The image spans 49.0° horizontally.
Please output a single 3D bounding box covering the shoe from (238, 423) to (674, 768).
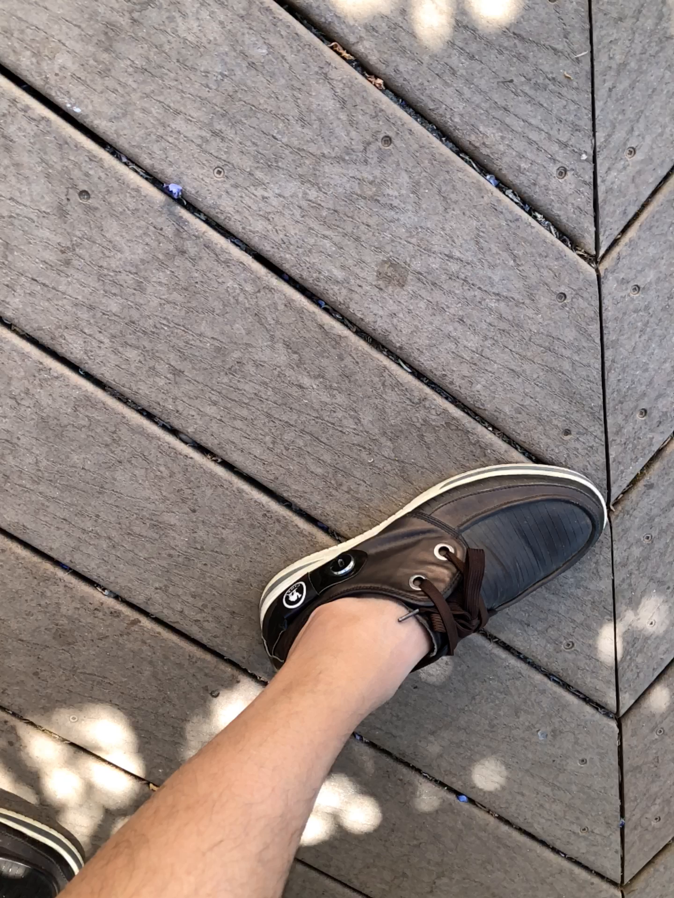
[{"bbox_3d":[0.082,0.107,0.566,0.295,0.110,0.110,-25,112,3],"label":"shoe"}]
